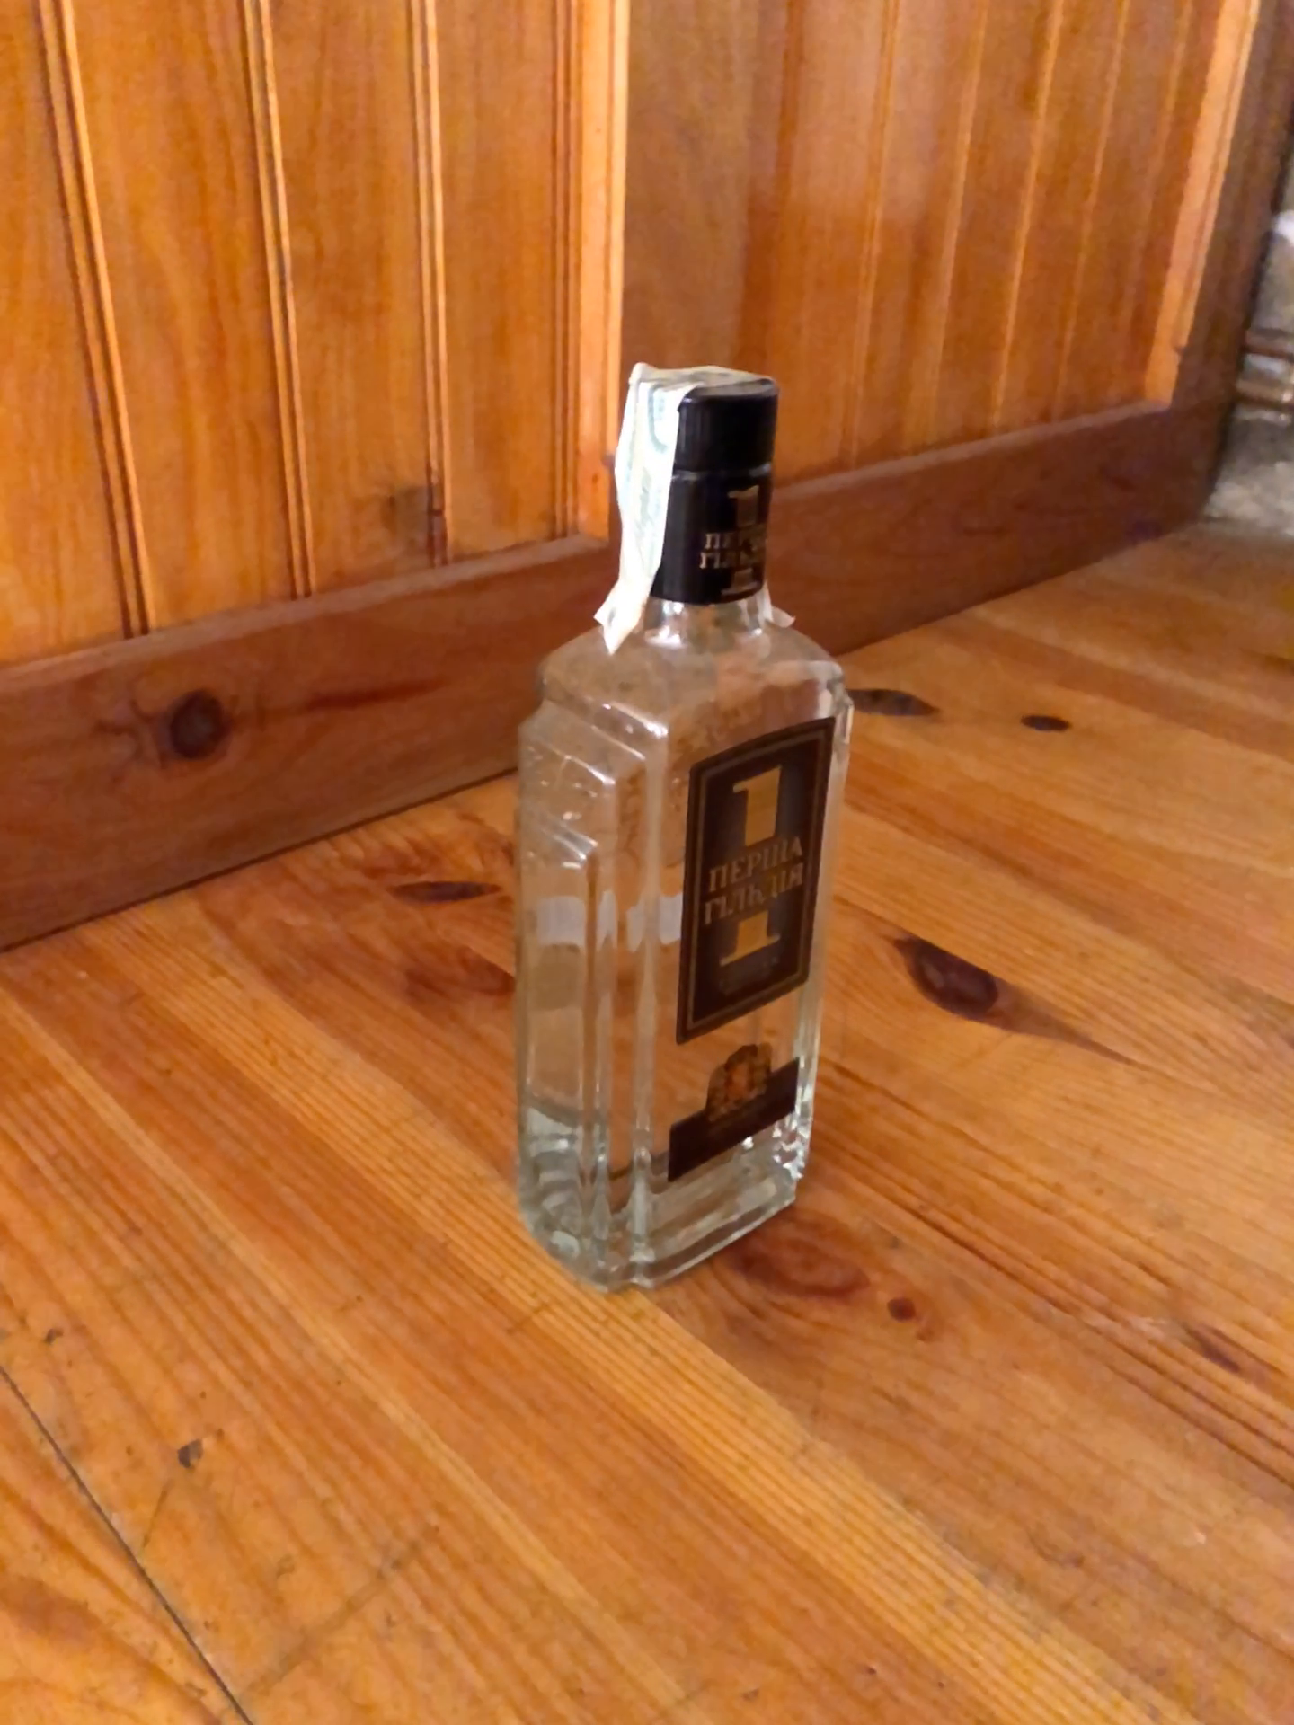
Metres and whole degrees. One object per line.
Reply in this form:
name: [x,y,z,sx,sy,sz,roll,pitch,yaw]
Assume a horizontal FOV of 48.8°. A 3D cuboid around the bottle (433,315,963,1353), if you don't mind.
bottle: [0.007,-0.003,0.370,0.100,0.249,0.060,-19,36,-34]
